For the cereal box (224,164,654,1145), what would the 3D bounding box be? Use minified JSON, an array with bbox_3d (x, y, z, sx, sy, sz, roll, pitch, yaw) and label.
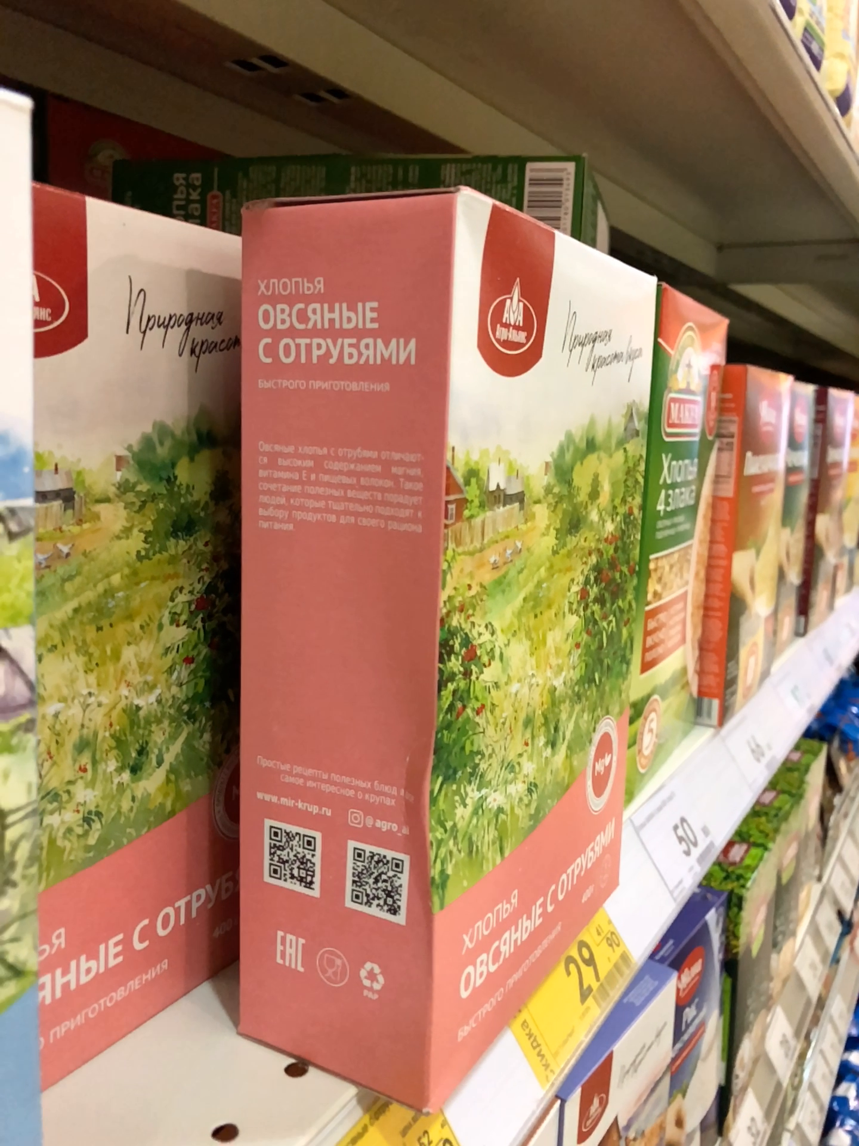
[{"bbox_3d":[0.009,0.014,0.269,0.060,0.209,0.130,6,9,29],"label":"cereal box"}]
